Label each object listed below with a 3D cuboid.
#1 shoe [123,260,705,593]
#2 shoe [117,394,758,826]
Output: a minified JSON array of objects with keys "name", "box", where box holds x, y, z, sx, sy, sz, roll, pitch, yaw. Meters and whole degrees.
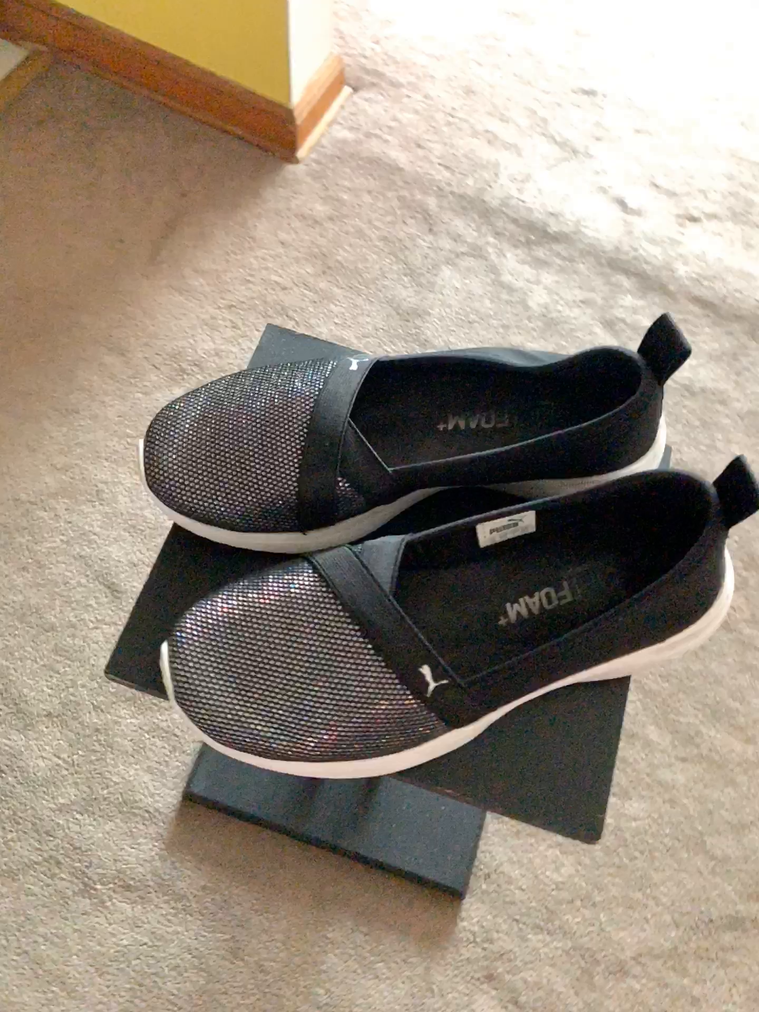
[{"name":"shoe","box":[0.011,-0.033,0.373,0.240,0.080,0.090,-10,67,3]},{"name":"shoe","box":[0.034,0.049,0.335,0.260,0.080,0.090,-18,69,2]}]
